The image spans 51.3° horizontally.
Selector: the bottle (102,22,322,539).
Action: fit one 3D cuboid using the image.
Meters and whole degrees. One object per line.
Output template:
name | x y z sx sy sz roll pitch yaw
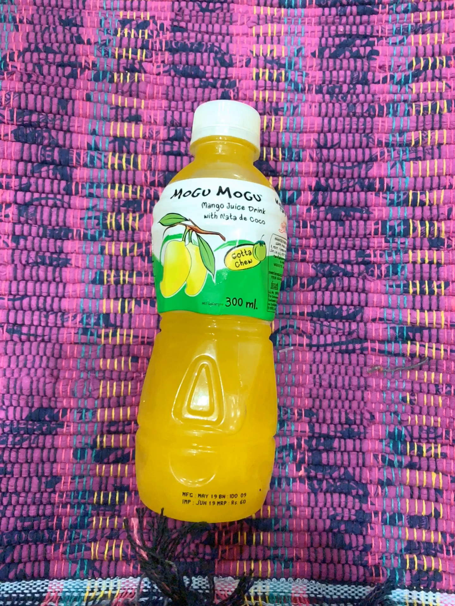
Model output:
bottle | -0.005 -0.007 0.178 0.060 0.060 0.160 4 85 -5
